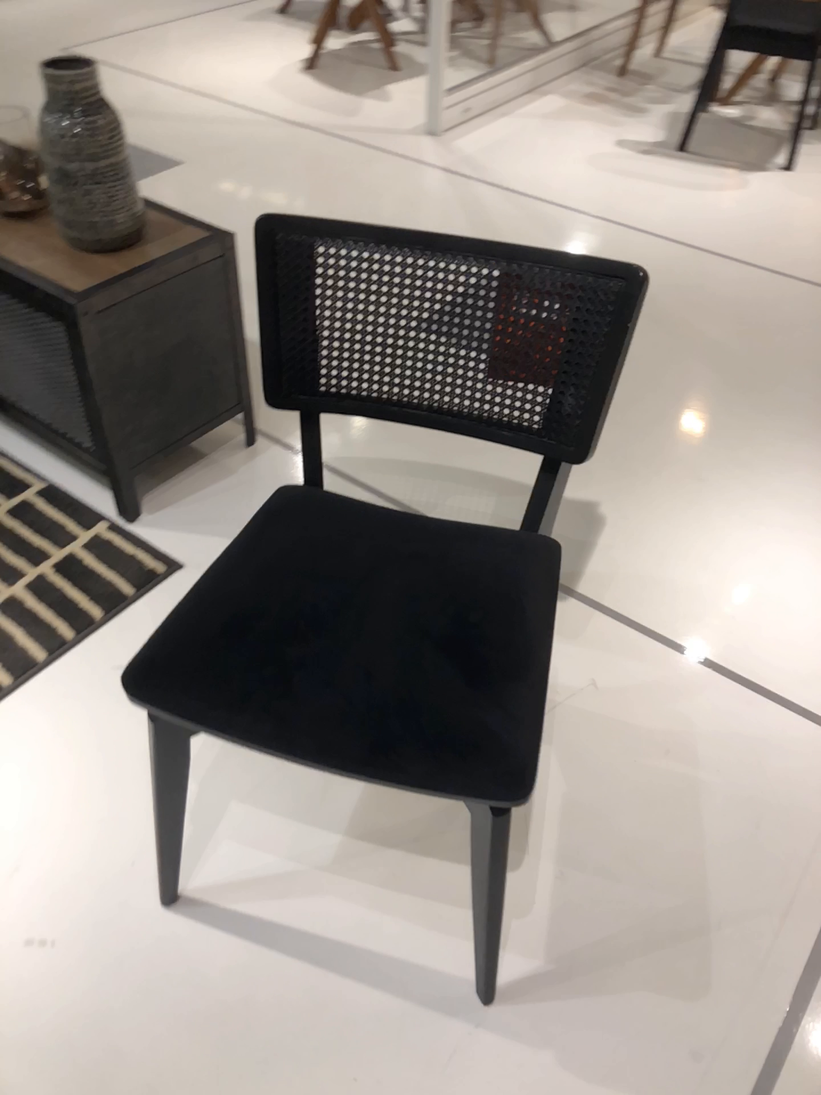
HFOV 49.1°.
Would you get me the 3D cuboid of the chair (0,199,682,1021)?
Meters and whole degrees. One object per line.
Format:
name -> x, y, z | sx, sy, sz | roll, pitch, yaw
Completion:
chair -> -0.033, 0.081, 1.103 | 0.530, 0.744, 0.554 | 11, 44, 10
